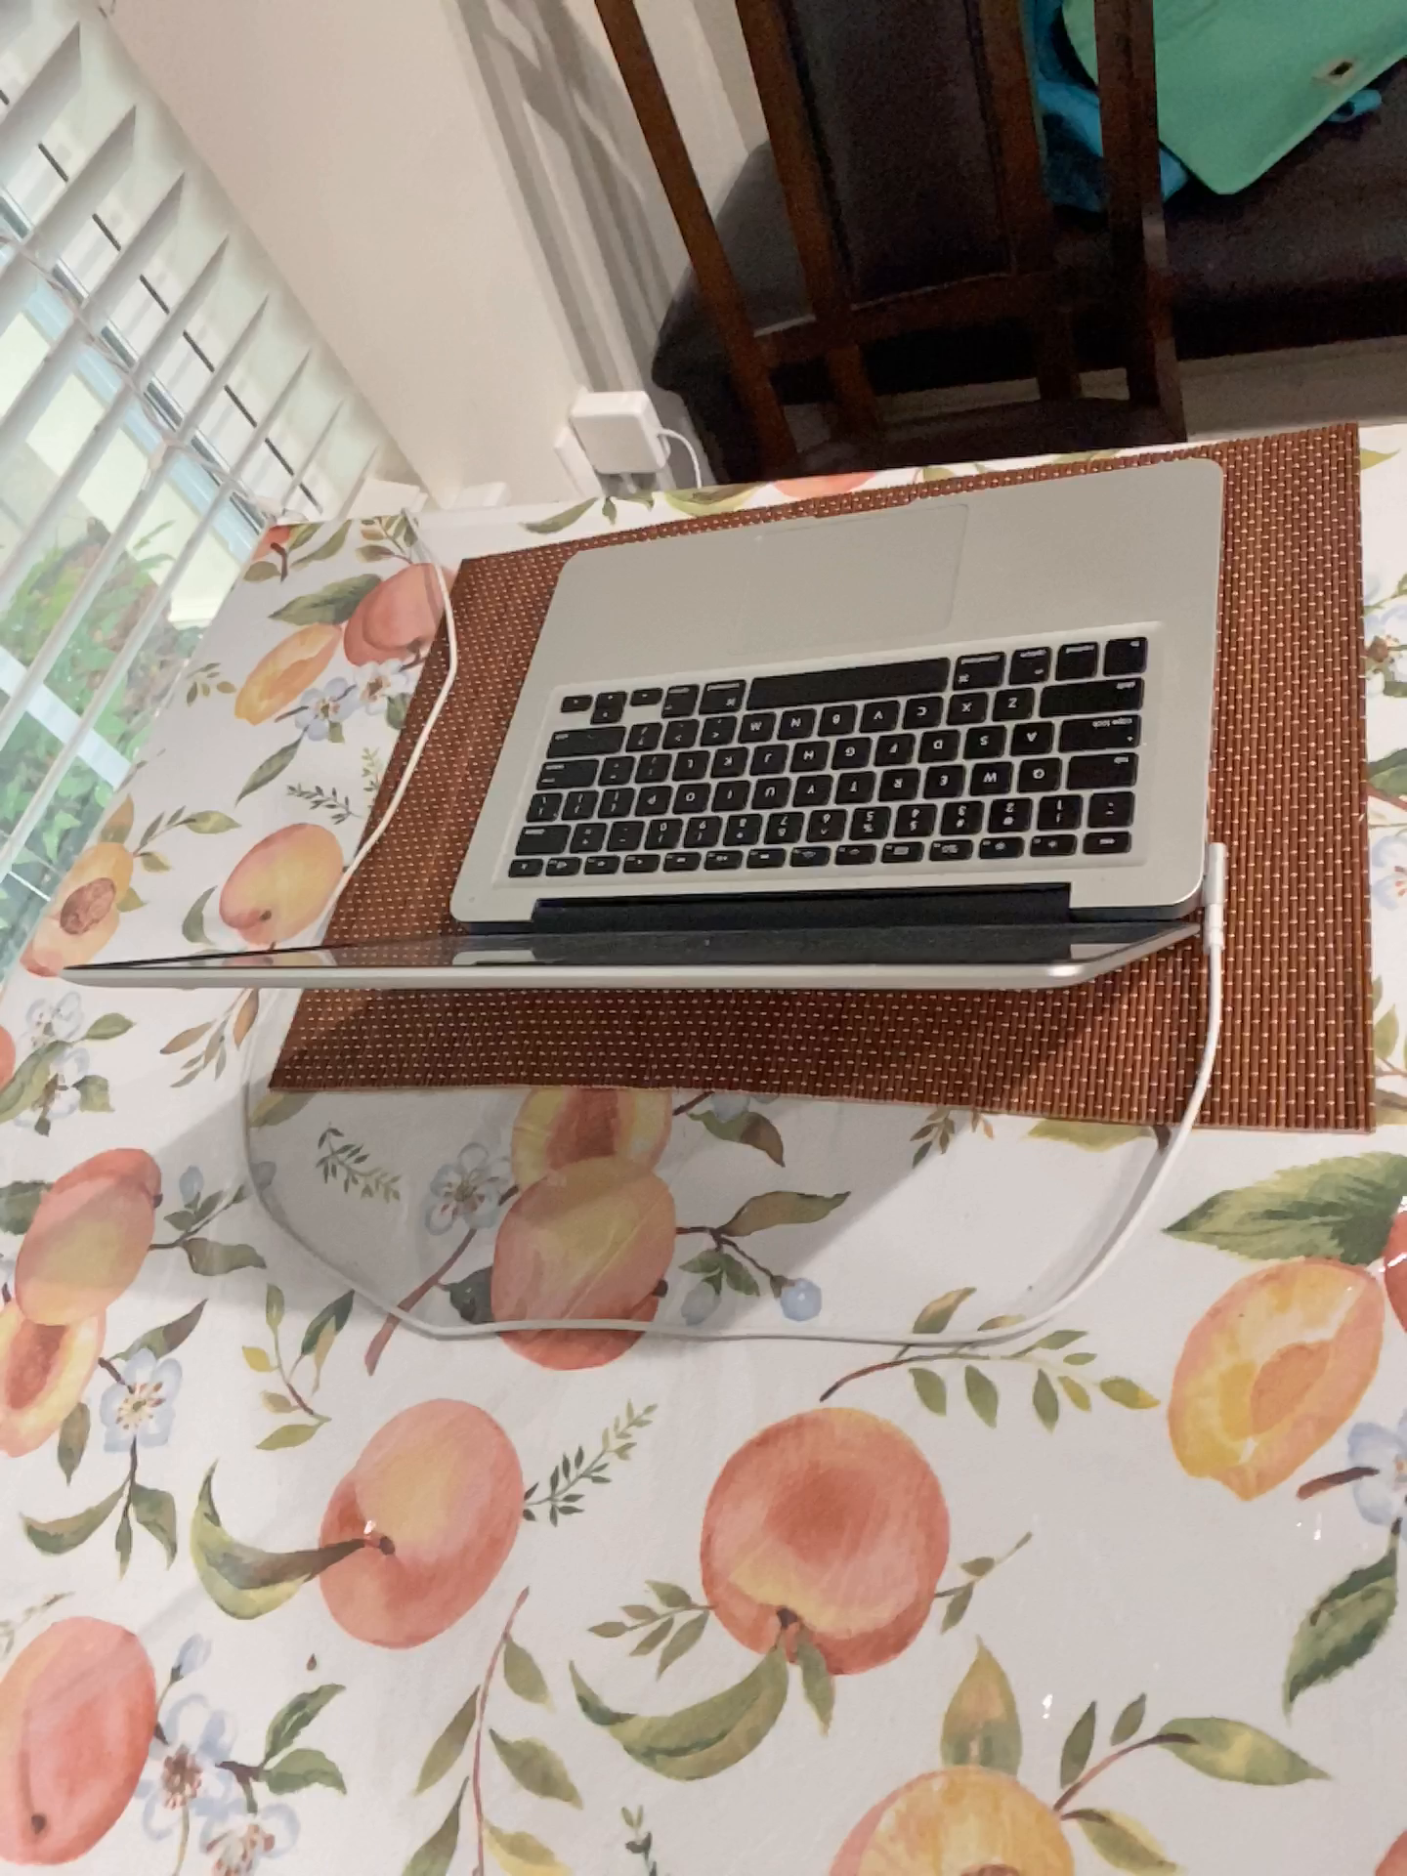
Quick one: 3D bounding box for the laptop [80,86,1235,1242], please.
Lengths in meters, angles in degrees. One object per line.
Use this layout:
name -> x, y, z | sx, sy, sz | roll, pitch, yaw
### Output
laptop -> 0.014, -0.094, 0.532 | 0.317, 0.163, 0.349 | -1, 58, 25
